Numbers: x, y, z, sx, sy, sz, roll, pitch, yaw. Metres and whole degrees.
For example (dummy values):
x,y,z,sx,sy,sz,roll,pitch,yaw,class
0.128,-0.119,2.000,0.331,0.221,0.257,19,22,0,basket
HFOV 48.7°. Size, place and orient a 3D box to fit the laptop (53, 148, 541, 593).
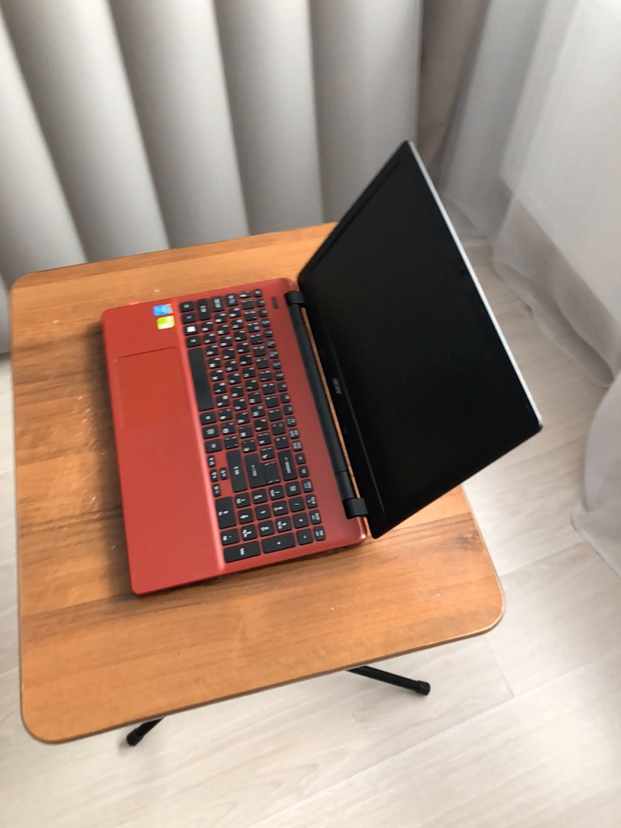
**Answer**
x,y,z,sx,sy,sz,roll,pitch,yaw,class
-0.038,-0.056,0.722,0.381,0.191,0.372,-11,60,-7,laptop
